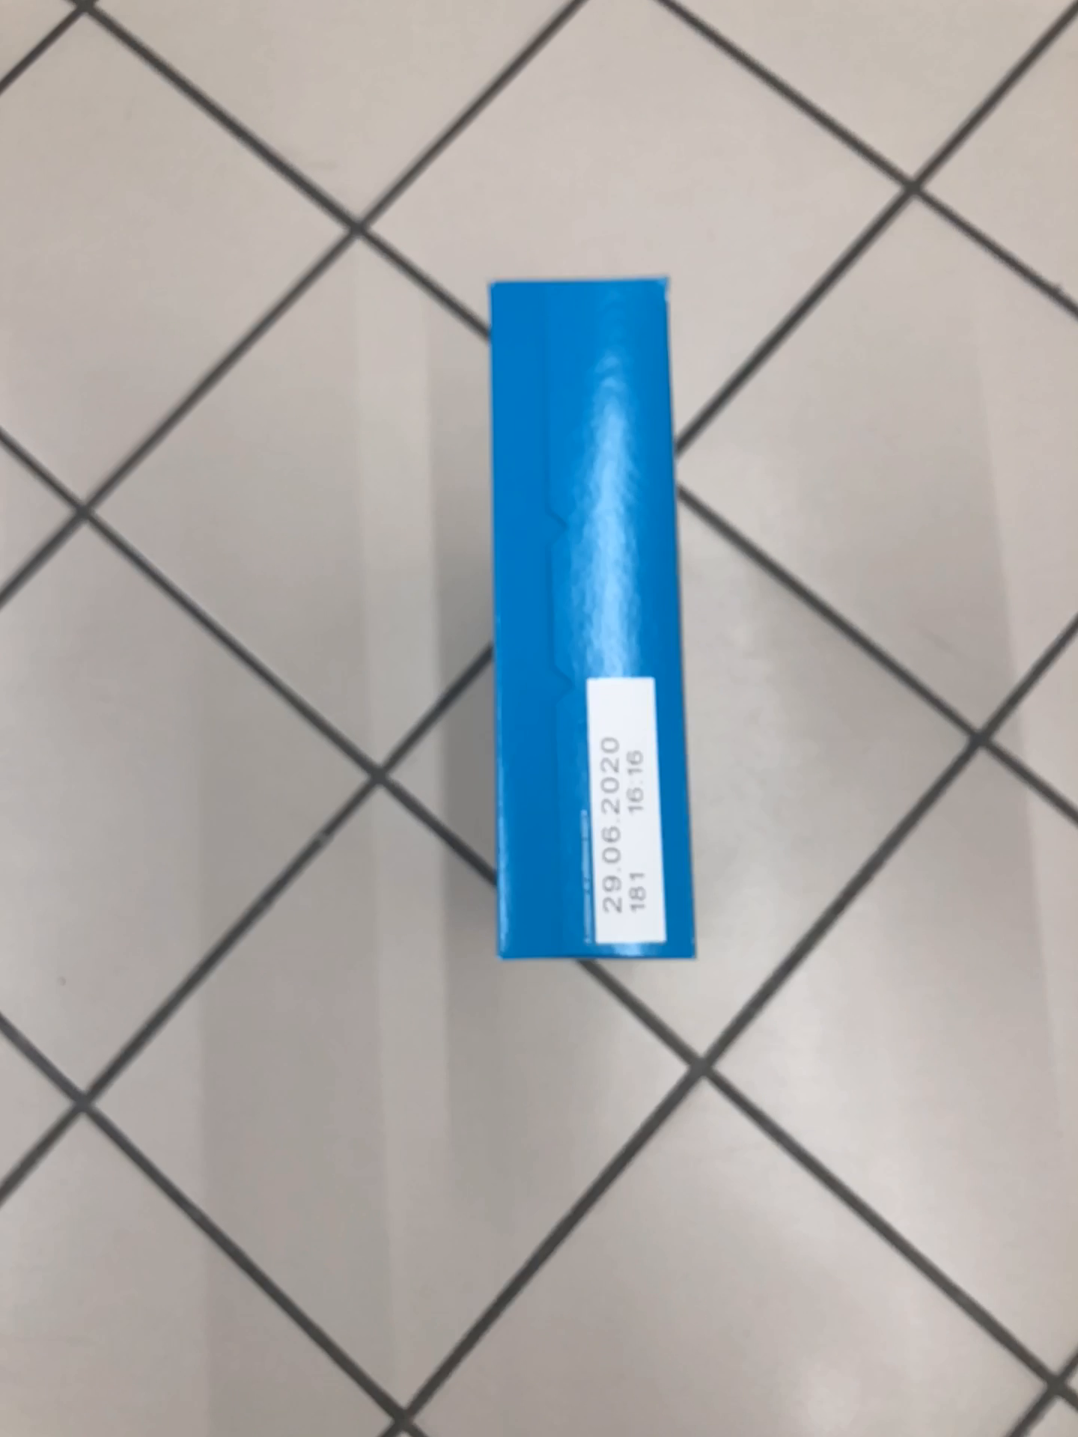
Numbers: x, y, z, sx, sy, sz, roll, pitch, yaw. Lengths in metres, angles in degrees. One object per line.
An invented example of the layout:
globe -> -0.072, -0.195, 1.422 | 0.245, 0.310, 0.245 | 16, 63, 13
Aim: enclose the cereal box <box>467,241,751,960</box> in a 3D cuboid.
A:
cereal box -> 0.022, -0.017, 0.453 | 0.070, 0.250, 0.200 | -2, 81, 2
